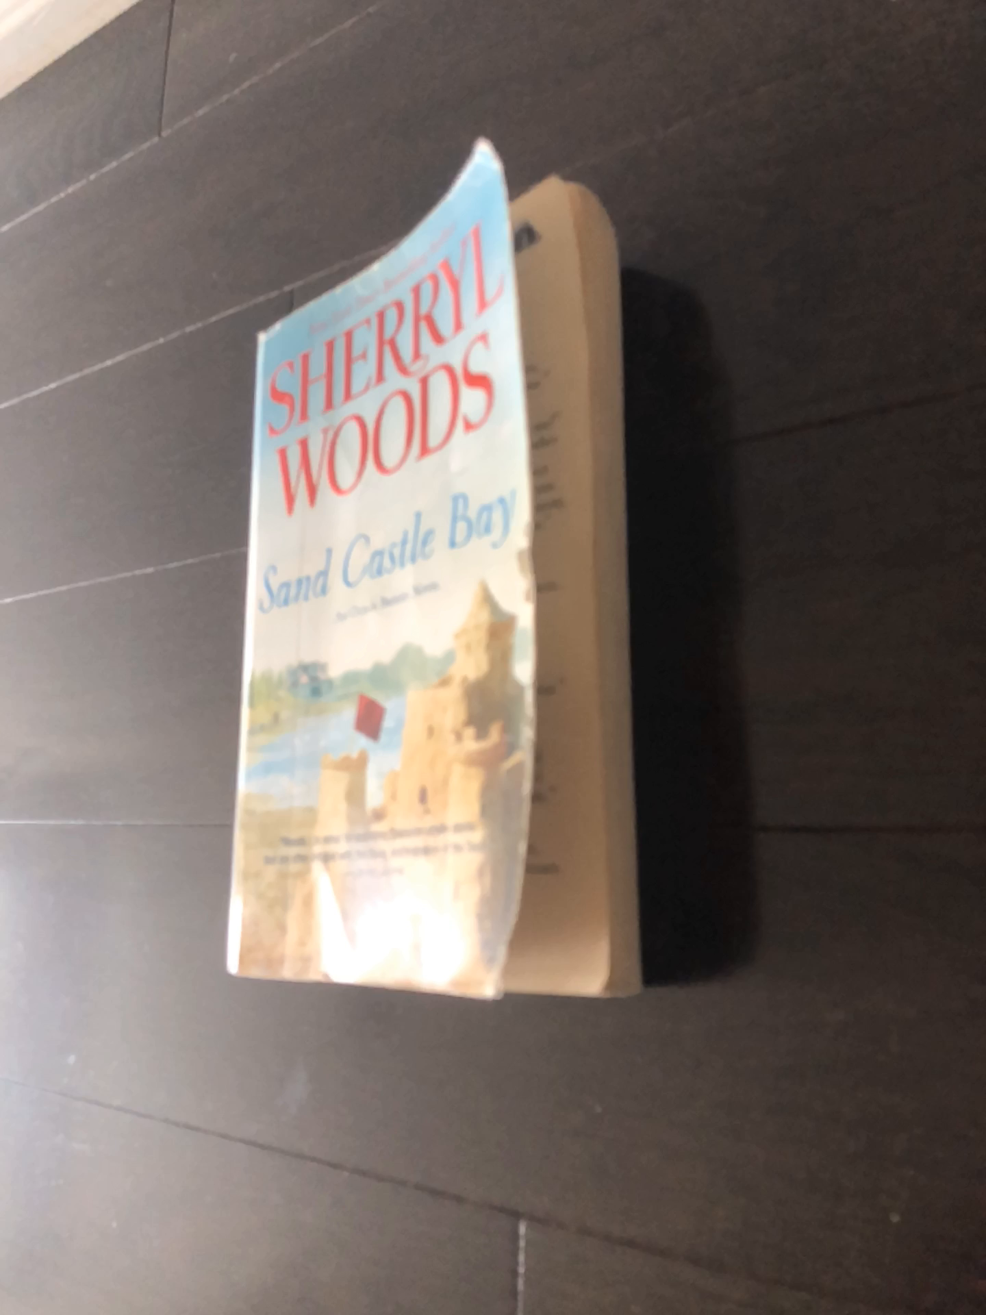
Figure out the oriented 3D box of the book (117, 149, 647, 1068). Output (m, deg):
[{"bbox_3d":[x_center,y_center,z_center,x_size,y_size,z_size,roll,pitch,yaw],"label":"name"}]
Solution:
[{"bbox_3d":[-0.030,-0.005,0.237,0.120,0.037,0.161,-8,79,39],"label":"book"}]
